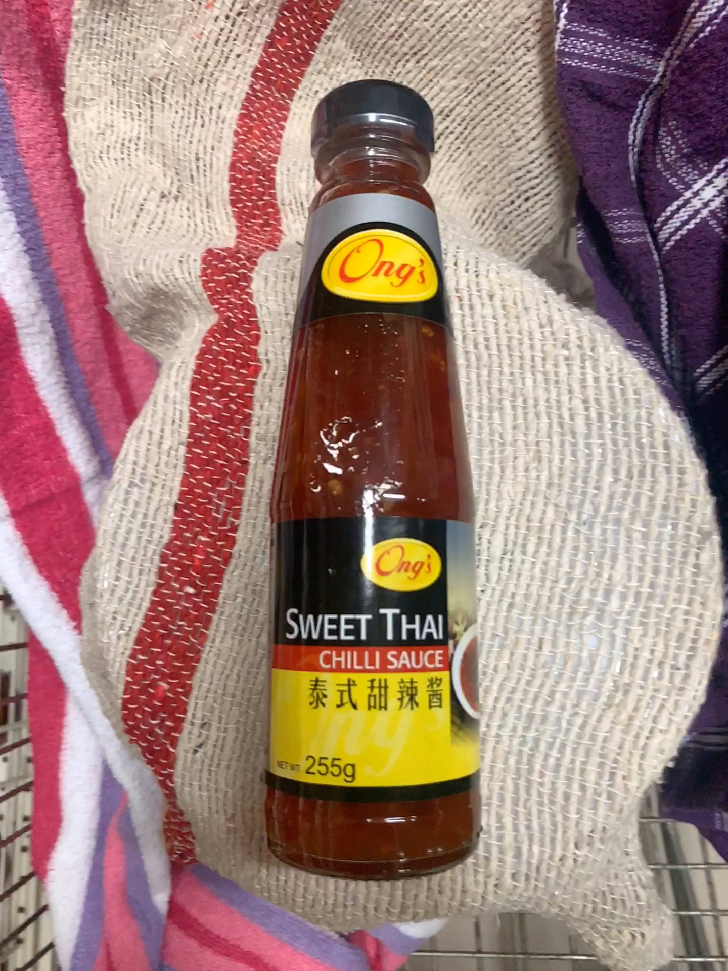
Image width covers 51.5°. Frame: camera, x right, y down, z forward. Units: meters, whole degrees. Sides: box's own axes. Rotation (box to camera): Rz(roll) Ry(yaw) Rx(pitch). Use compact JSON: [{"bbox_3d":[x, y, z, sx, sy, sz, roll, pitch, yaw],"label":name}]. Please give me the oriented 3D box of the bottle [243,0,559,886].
[{"bbox_3d":[0.006,-0.016,0.182,0.060,0.050,0.190,2,83,-13],"label":"bottle"}]
